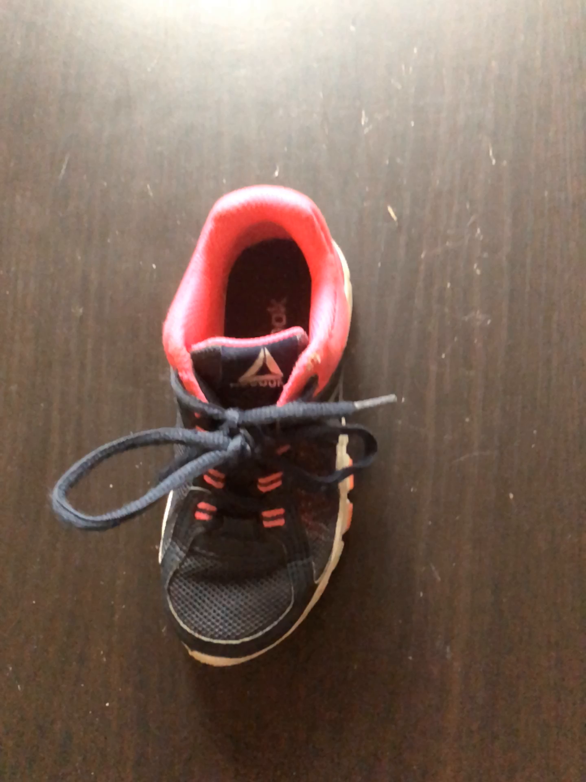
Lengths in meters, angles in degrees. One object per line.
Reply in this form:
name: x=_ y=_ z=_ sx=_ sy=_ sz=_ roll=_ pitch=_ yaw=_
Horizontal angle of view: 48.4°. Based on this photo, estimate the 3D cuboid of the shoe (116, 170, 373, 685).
shoe: x=-0.014 y=0.012 z=0.285 sx=0.080 sy=0.070 sz=0.193 roll=5 pitch=82 yaw=6
